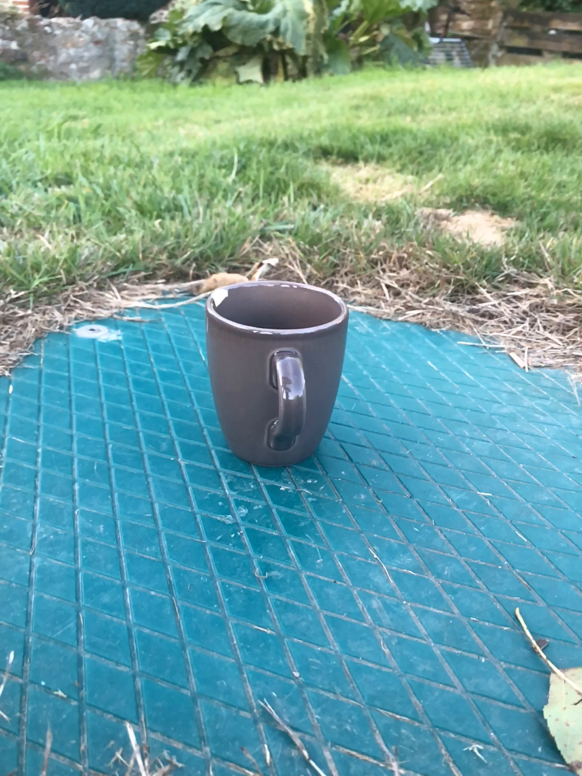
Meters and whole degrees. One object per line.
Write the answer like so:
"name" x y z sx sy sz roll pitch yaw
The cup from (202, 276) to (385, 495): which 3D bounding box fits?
"cup" -0.007 -0.009 0.395 0.090 0.086 0.127 -2 25 -8
